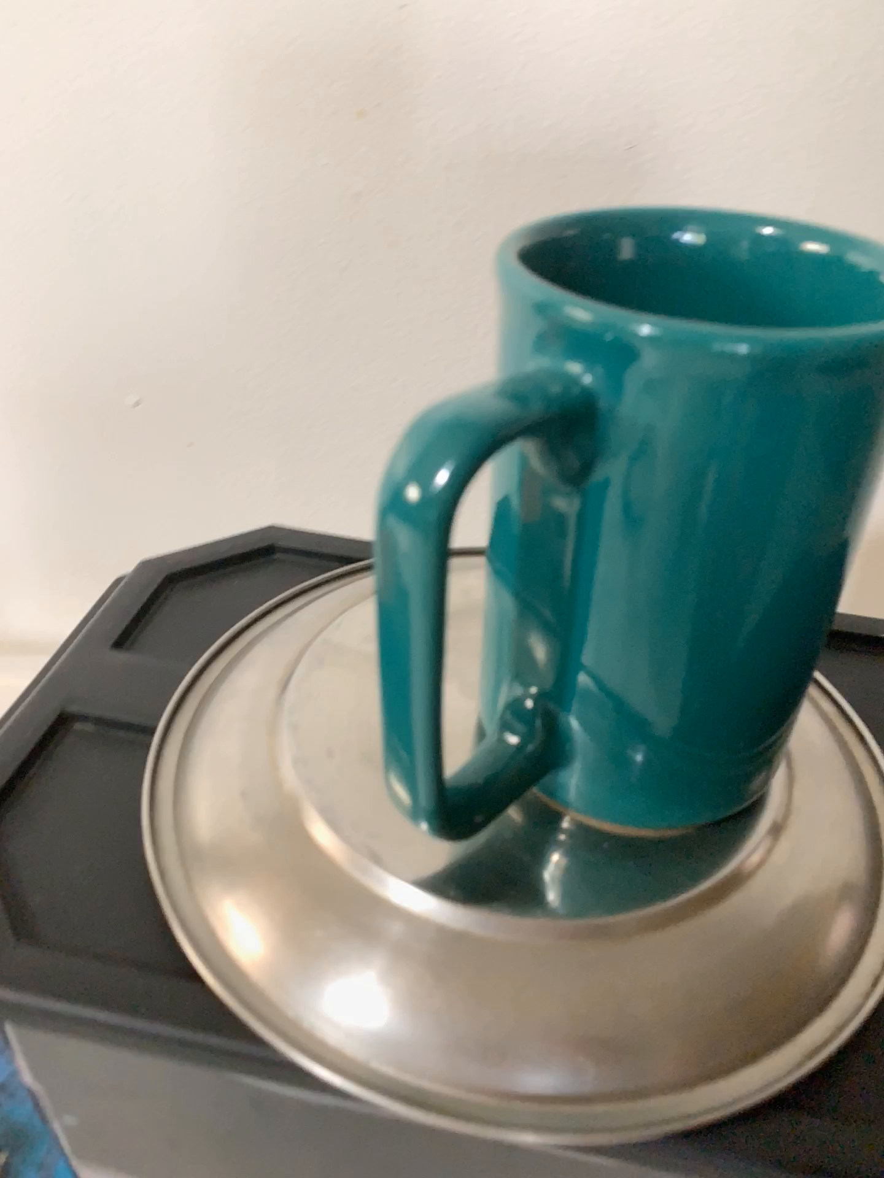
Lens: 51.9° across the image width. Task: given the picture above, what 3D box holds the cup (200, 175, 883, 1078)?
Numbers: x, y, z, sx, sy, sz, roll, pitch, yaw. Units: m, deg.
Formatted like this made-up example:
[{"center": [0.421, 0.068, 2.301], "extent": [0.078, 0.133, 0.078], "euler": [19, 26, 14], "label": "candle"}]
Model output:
[{"center": [0.033, -0.005, 0.181], "extent": [0.121, 0.119, 0.080], "euler": [-28, 45, -37], "label": "cup"}]
